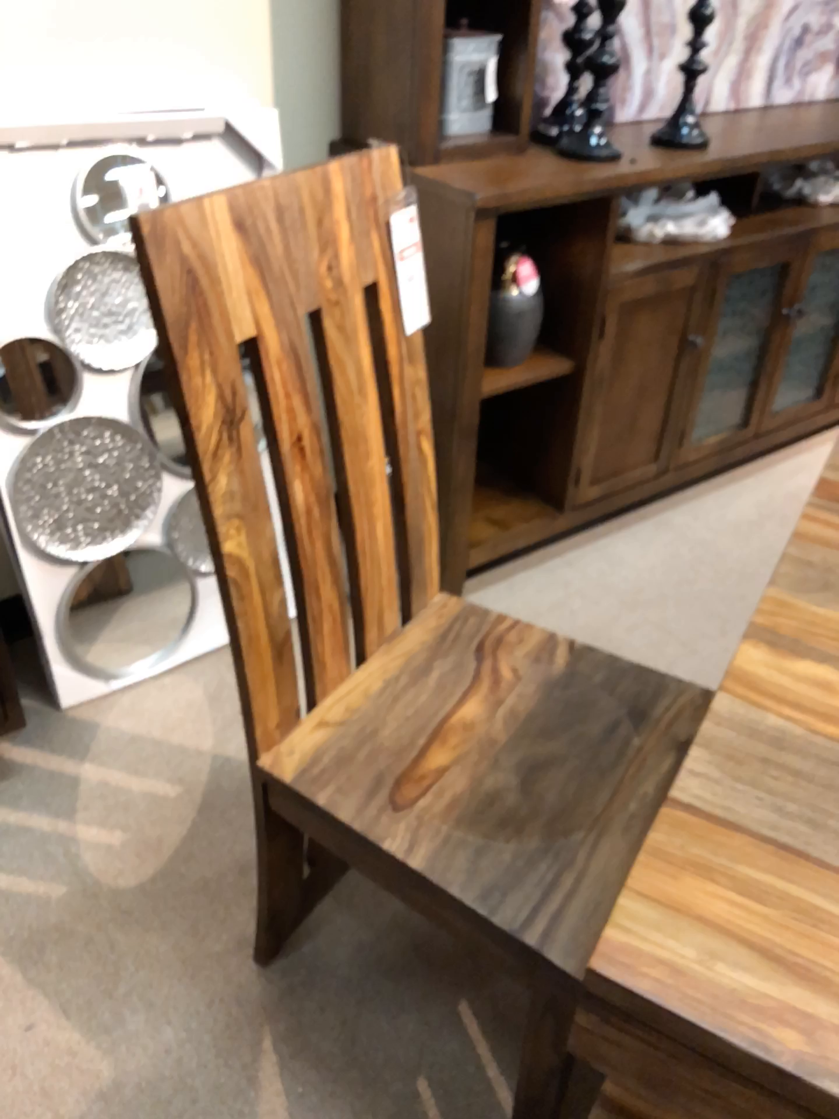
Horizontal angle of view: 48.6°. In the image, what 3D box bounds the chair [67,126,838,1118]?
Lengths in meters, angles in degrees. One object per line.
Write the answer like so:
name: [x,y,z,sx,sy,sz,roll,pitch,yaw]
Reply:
chair: [0.082,0.126,1.088,0.592,1.023,0.512,22,39,25]
